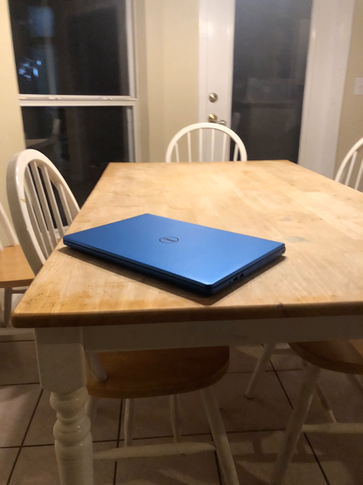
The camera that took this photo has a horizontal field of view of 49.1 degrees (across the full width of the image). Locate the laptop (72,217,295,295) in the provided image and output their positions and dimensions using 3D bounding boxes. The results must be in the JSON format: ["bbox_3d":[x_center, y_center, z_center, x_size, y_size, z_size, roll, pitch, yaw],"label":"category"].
[{"bbox_3d":[-0.002,0.007,0.829,0.388,0.001,0.260,15,24,37],"label":"laptop"}]
